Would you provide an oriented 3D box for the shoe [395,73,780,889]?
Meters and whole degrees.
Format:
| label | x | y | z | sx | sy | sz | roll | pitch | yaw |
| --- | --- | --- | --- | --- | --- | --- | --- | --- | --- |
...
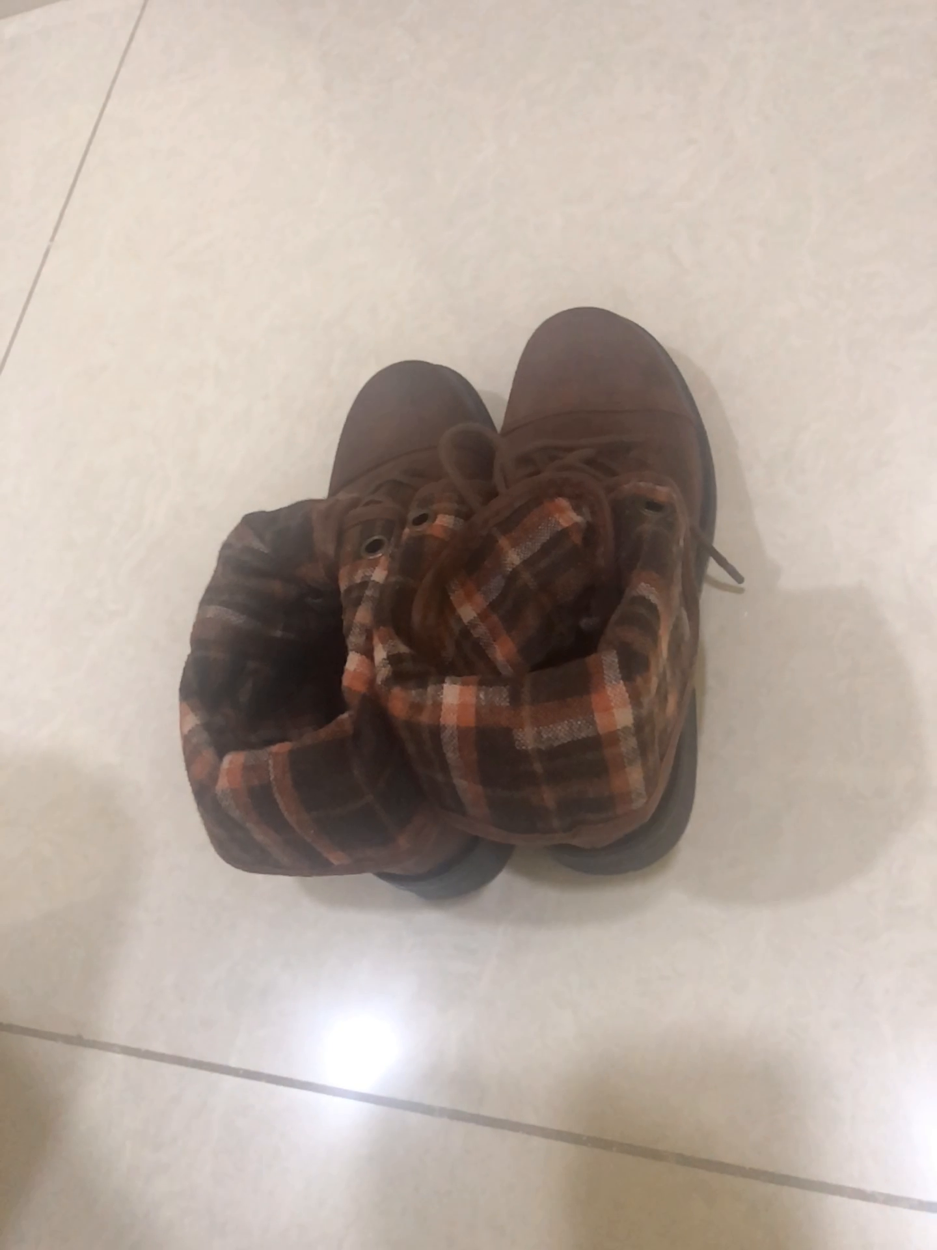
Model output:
| label | x | y | z | sx | sy | sz | roll | pitch | yaw |
| --- | --- | --- | --- | --- | --- | --- | --- | --- | --- |
| shoe | 0.045 | -0.052 | 0.408 | 0.100 | 0.140 | 0.270 | -10 | 62 | 16 |

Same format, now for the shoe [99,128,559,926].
| label | x | y | z | sx | sy | sz | roll | pitch | yaw |
| --- | --- | --- | --- | --- | --- | --- | --- | --- | --- |
| shoe | -0.051 | -0.037 | 0.438 | 0.110 | 0.150 | 0.280 | -13 | 61 | 14 |
